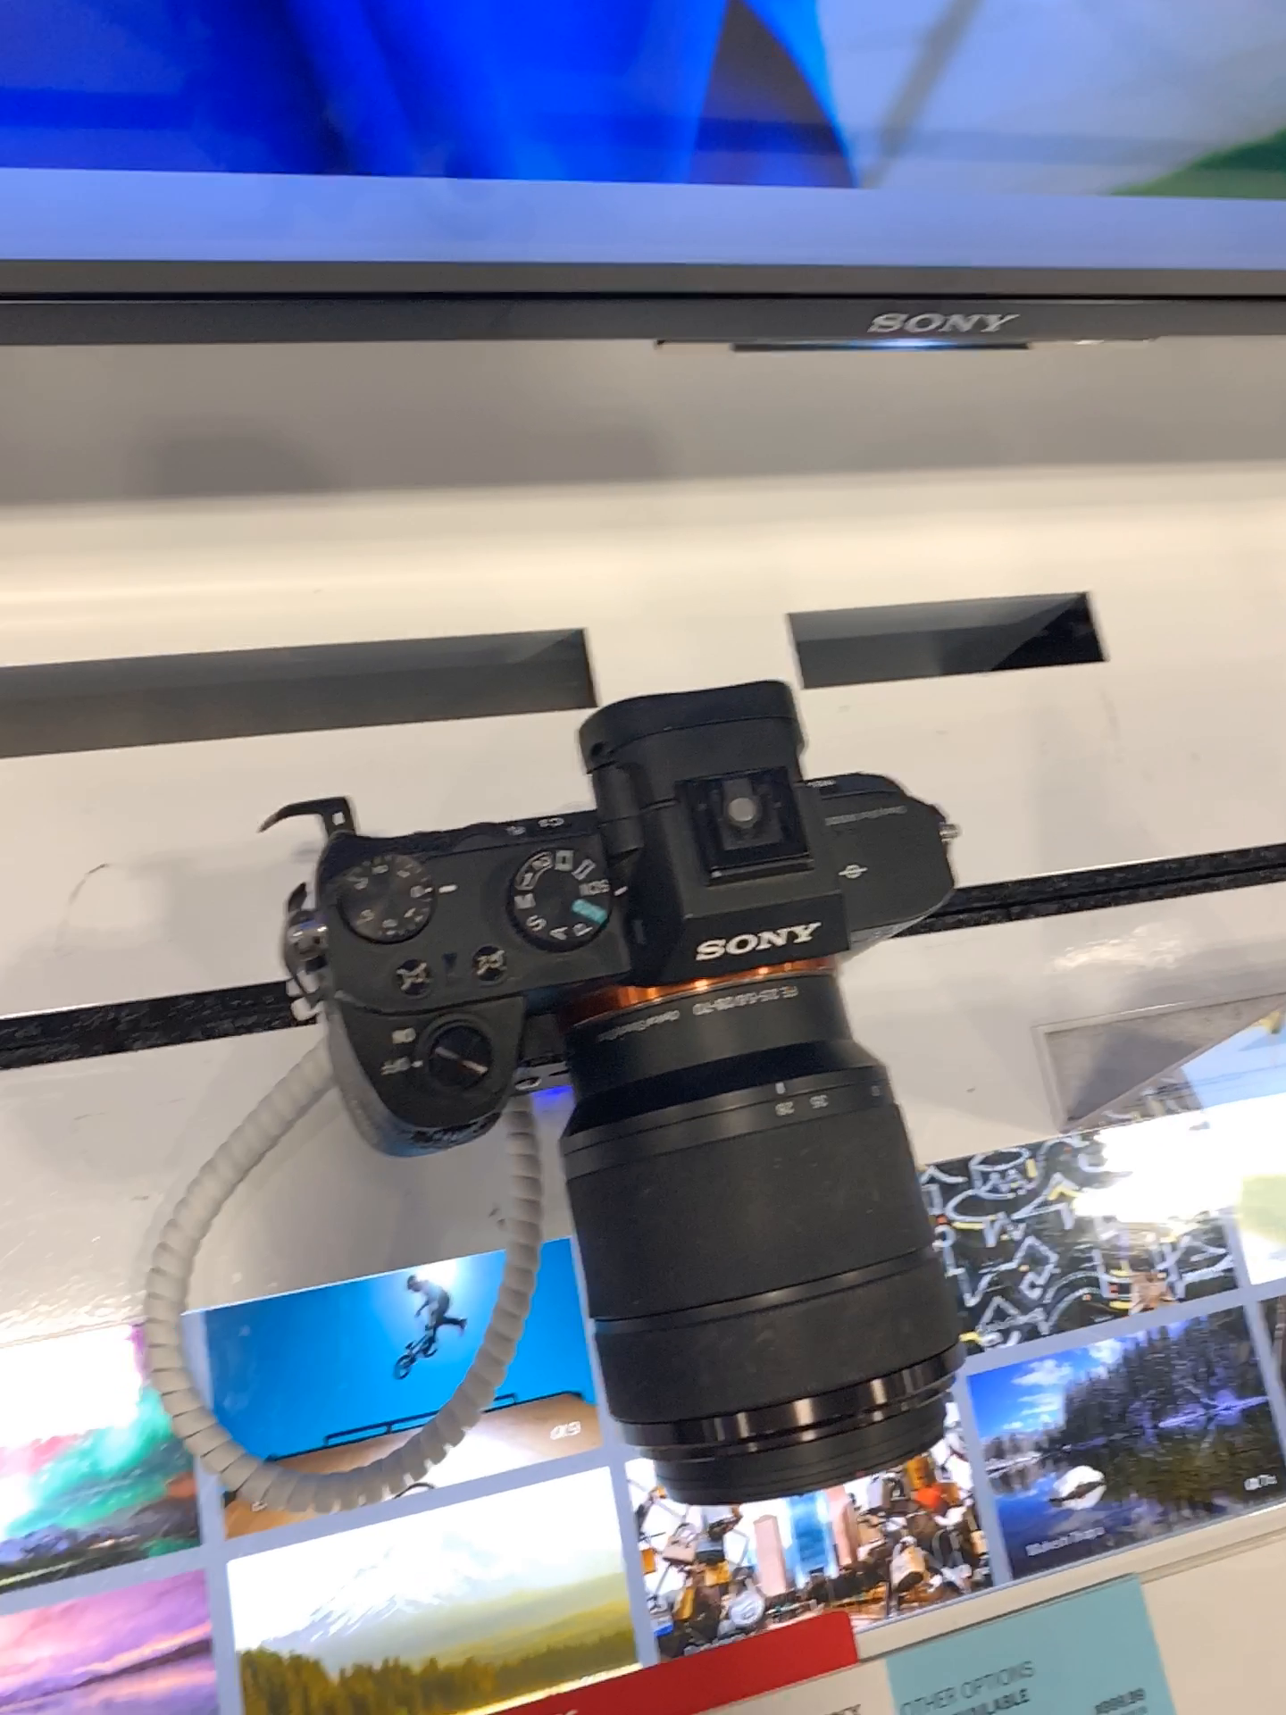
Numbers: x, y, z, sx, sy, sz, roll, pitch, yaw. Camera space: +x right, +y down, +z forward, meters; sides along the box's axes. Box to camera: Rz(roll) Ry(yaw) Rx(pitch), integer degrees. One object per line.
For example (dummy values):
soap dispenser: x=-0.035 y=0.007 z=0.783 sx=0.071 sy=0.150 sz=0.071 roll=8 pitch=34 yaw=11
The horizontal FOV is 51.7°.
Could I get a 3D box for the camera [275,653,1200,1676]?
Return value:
camera: x=0.006 y=0.049 z=0.259 sx=0.130 sy=0.091 sz=0.142 roll=-7 pitch=76 yaw=-15
